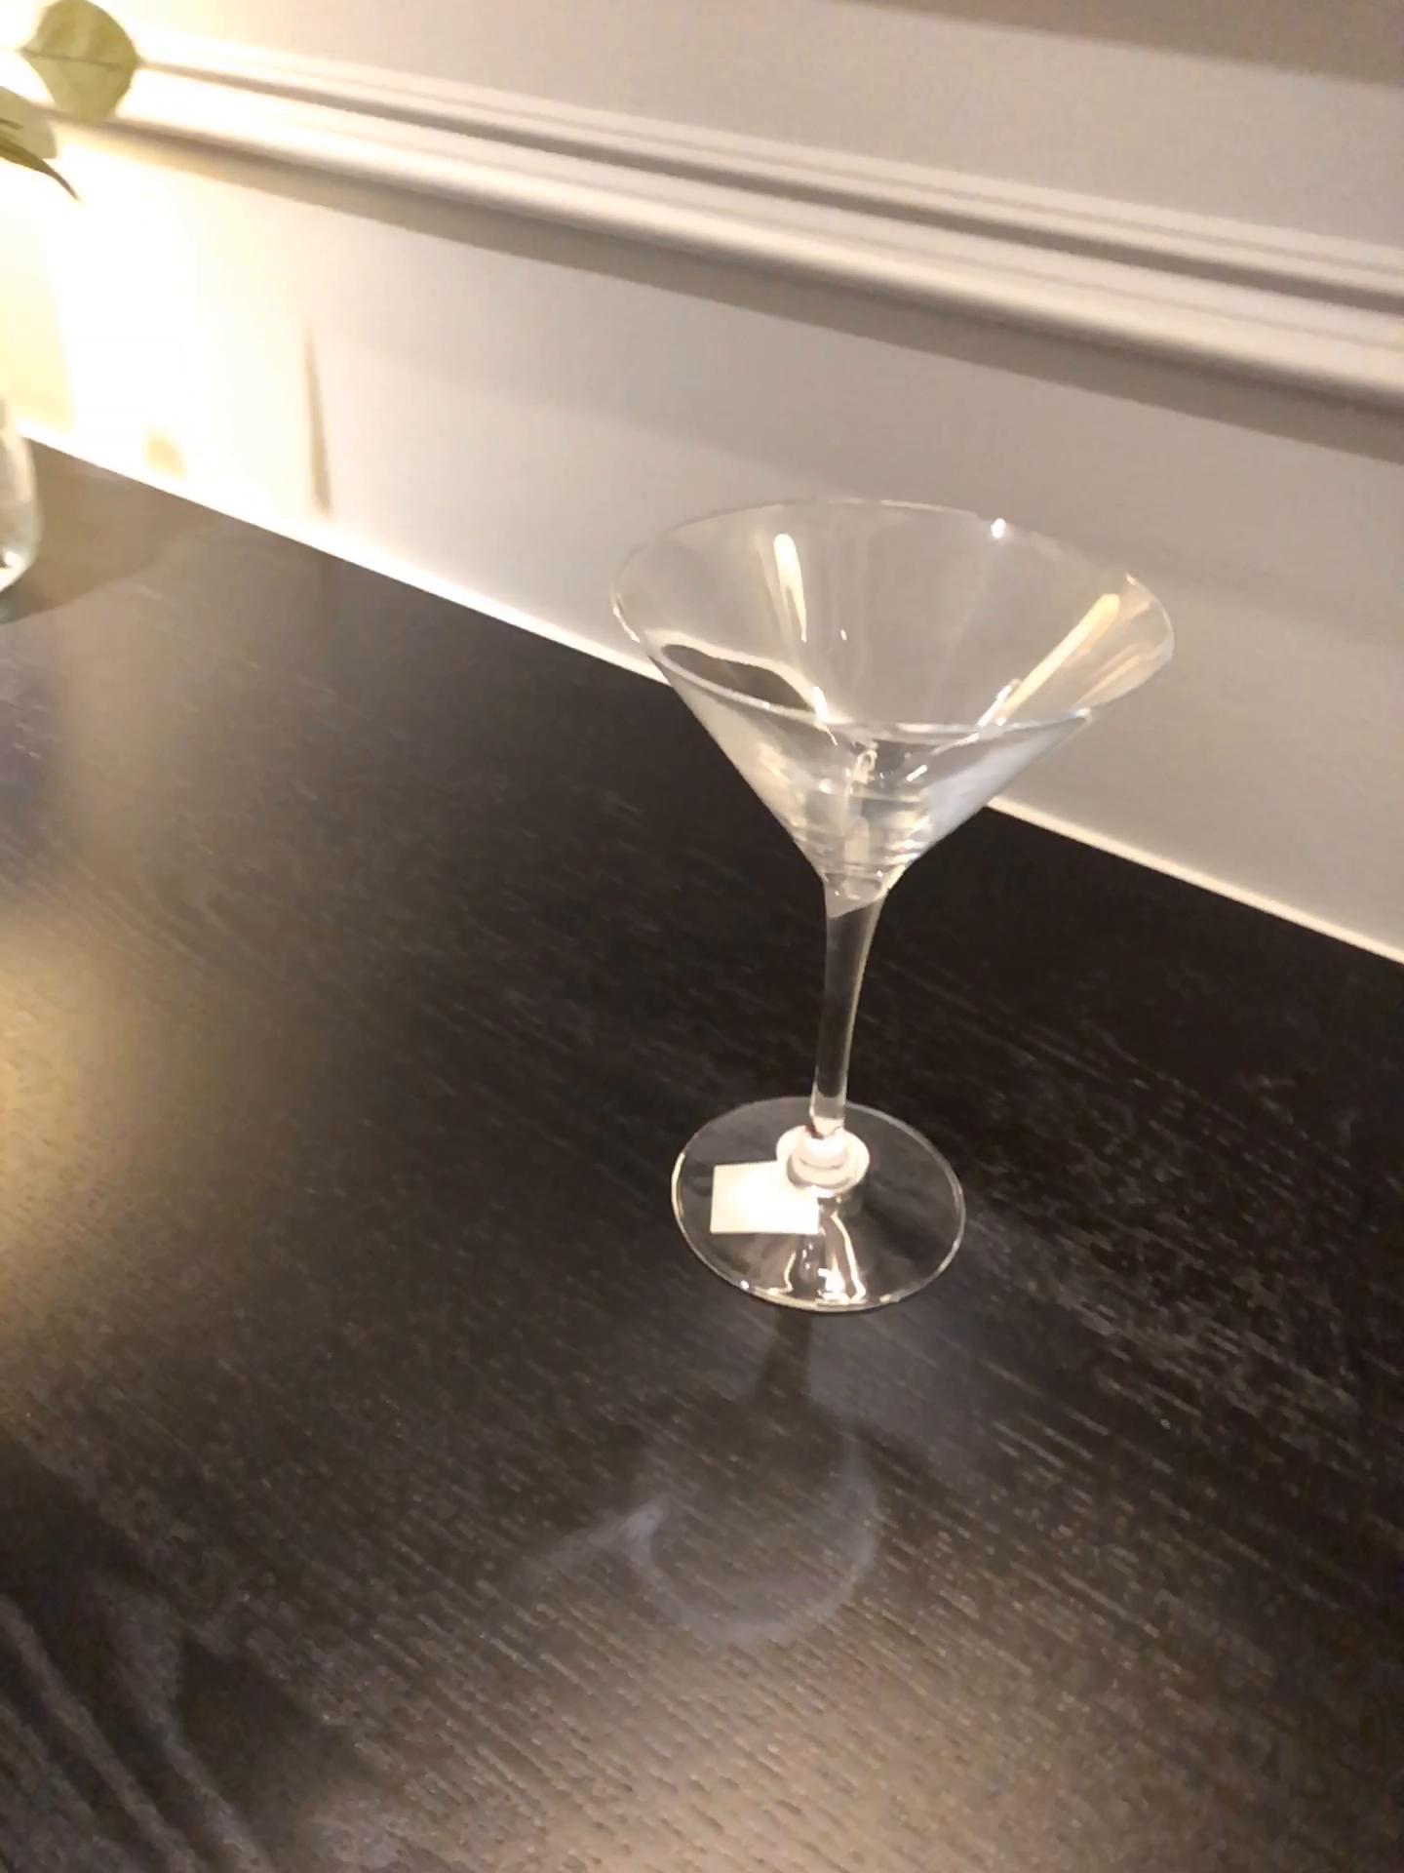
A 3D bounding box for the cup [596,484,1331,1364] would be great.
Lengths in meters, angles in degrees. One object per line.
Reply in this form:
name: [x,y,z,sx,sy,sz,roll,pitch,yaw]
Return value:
cup: [0.043,-0.008,0.379,0.120,0.159,0.131,2,35,-1]
